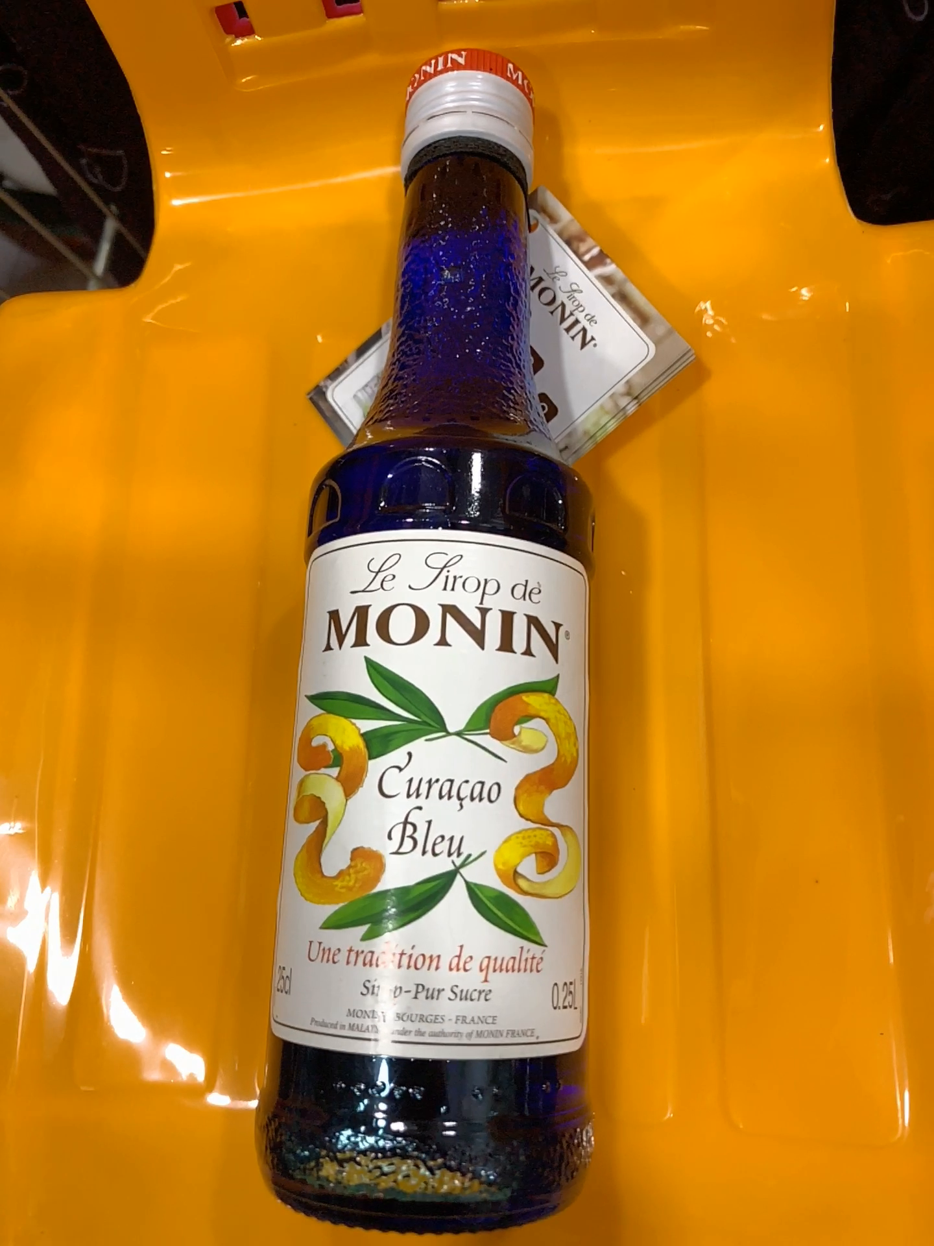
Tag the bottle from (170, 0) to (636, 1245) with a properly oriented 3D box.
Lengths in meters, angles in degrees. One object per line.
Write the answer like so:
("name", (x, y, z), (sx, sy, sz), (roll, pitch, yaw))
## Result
("bottle", (-0.003, -0.016, 0.180), (0.060, 0.050, 0.220), (2, 76, 4))
